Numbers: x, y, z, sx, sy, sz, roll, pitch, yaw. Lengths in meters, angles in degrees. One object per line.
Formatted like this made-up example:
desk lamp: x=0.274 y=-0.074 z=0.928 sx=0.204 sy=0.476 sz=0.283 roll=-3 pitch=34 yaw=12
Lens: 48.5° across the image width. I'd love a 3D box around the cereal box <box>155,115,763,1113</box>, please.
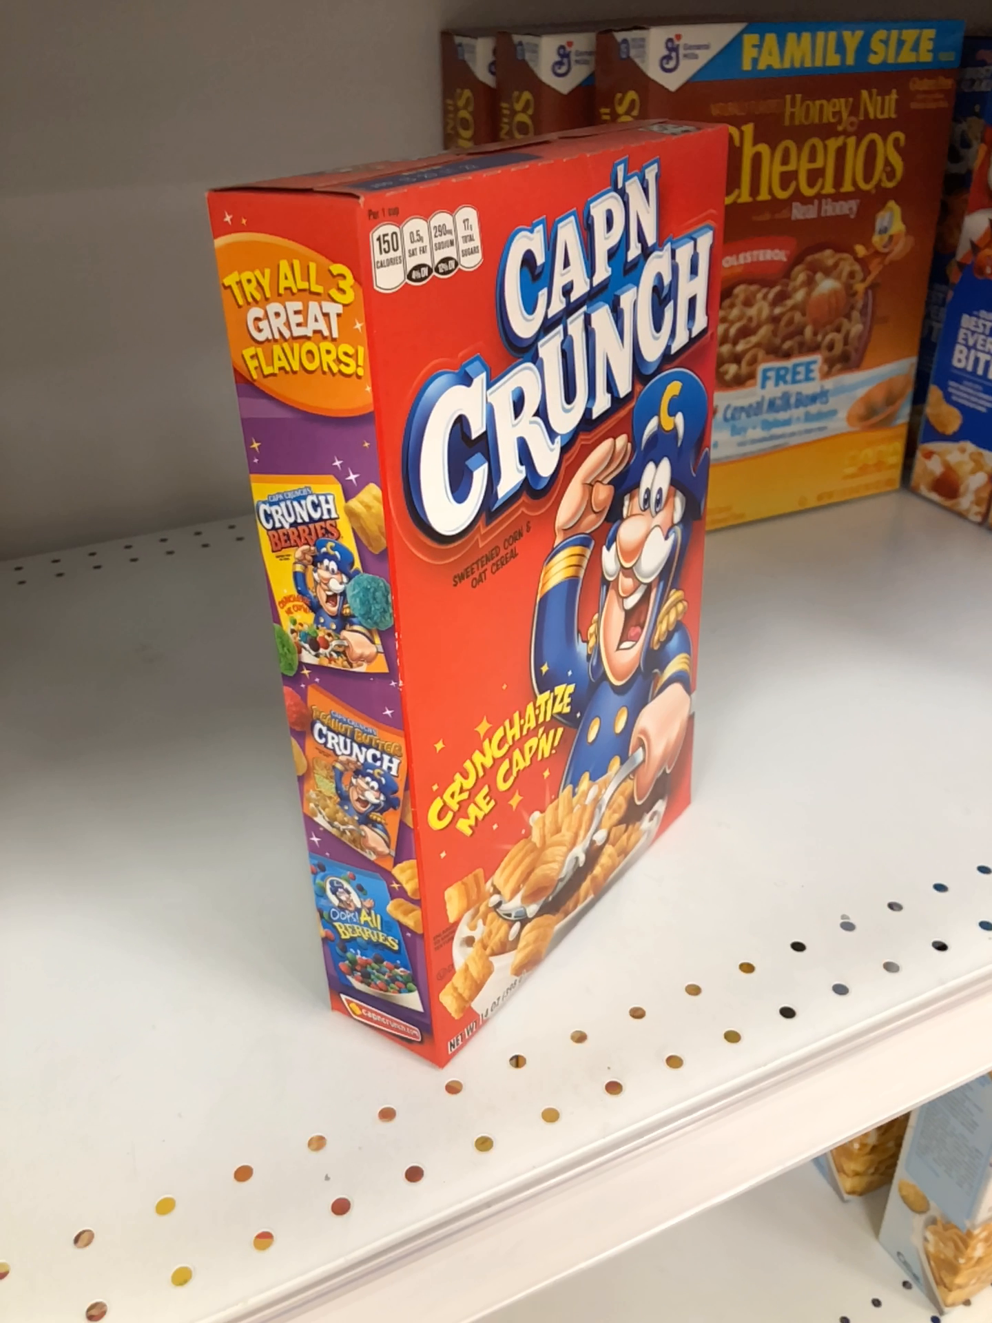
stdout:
cereal box: x=0.007 y=-0.024 z=0.412 sx=0.070 sy=0.309 sz=0.210 roll=19 pitch=36 yaw=32
